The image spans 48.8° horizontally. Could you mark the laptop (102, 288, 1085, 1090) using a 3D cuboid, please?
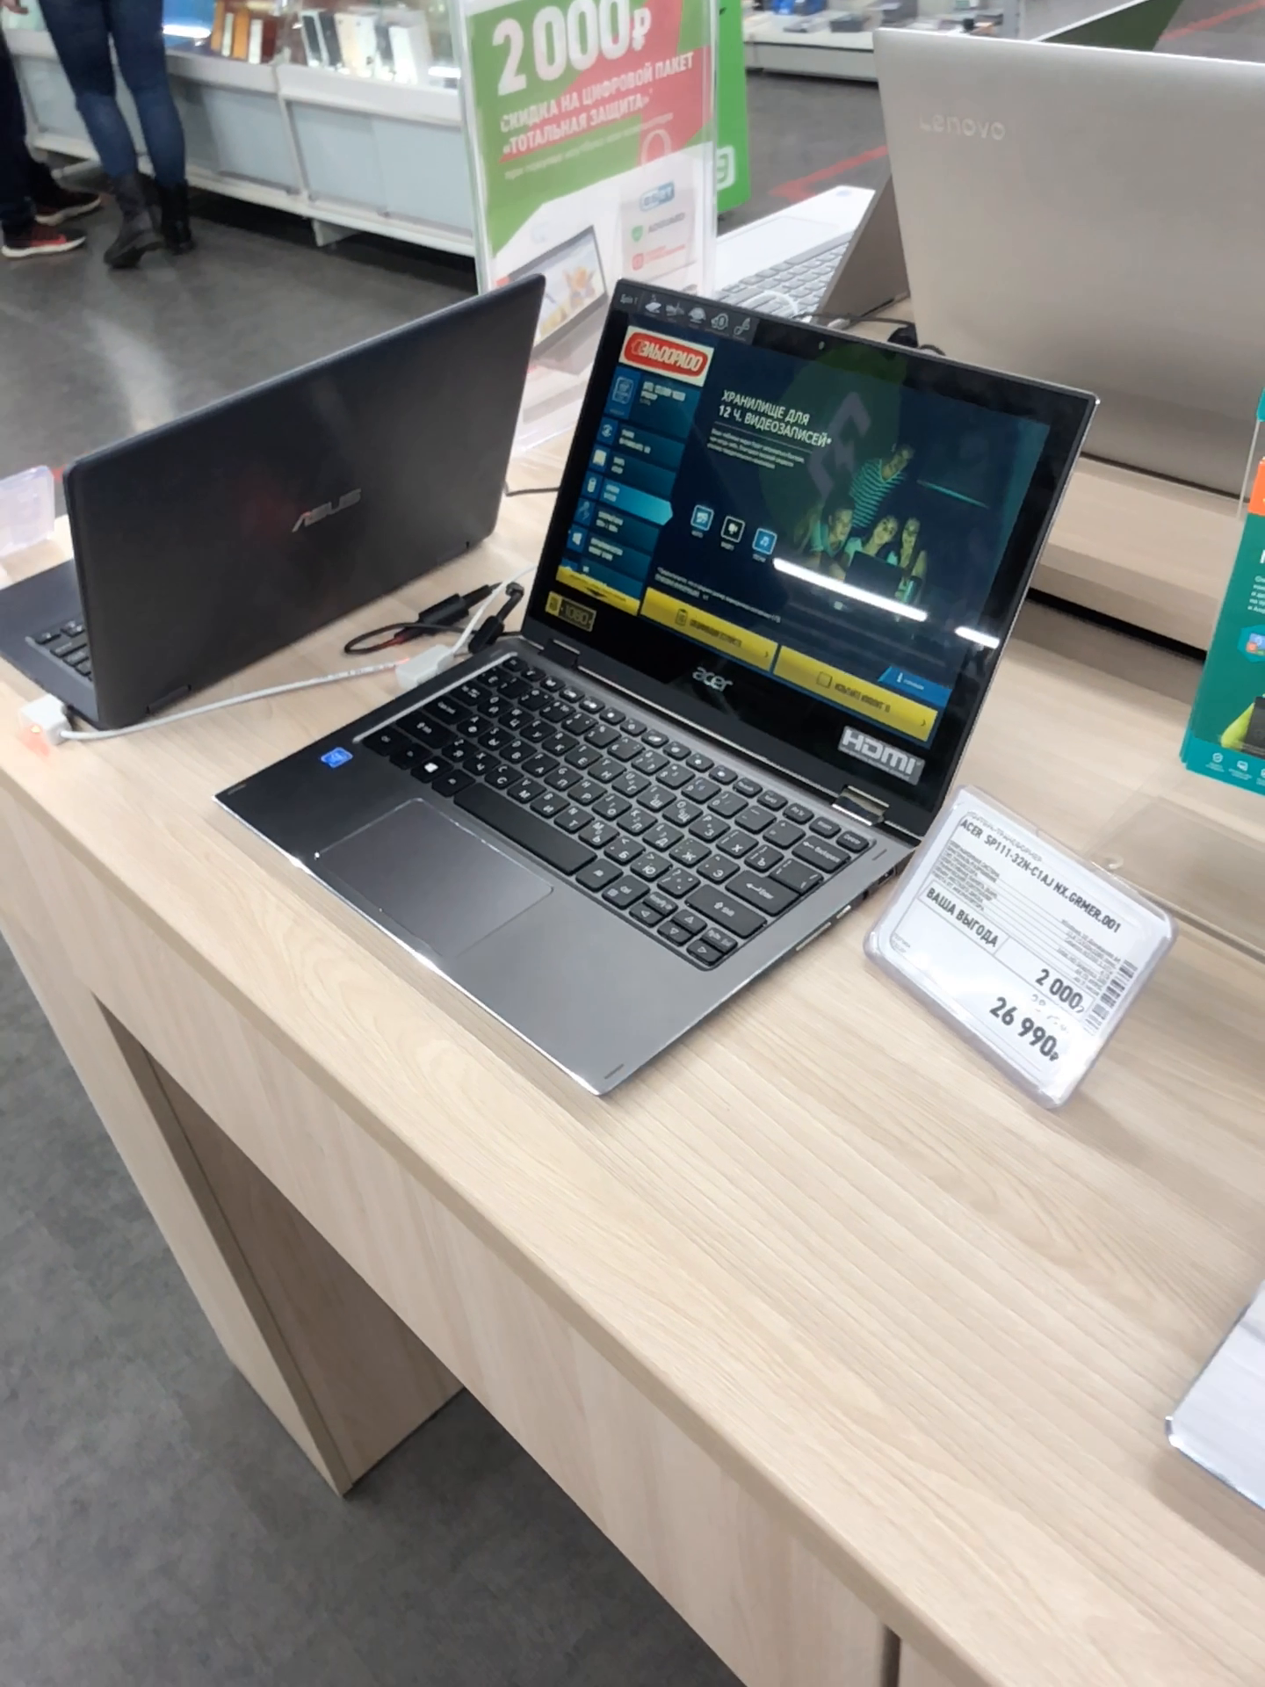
[{"bbox_3d":[-0.011,-0.103,0.641,0.303,0.168,0.288,-34,46,-30],"label":"laptop"}]

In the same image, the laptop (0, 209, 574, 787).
[{"bbox_3d":[-0.241,-0.223,0.815,0.276,0.174,0.287,-34,46,-30],"label":"laptop"}]
